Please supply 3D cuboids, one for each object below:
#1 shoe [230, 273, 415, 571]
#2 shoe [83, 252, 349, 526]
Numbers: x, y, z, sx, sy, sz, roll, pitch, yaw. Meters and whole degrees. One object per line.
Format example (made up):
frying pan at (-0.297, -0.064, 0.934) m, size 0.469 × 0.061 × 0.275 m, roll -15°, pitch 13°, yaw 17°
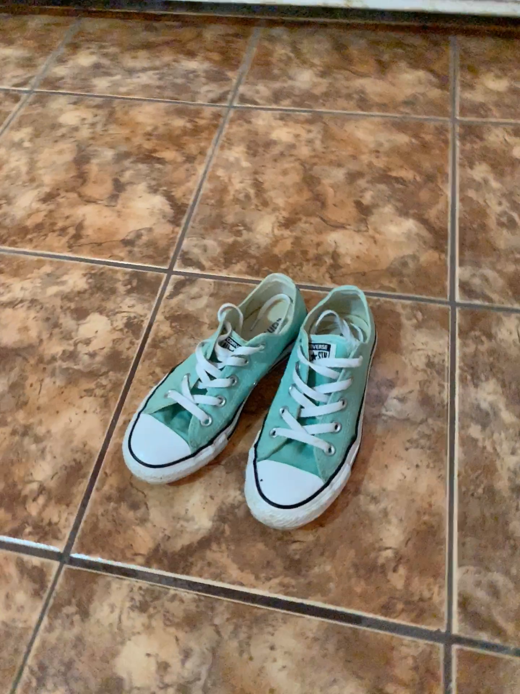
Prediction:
shoe at (0.065, 0.058, 0.486) m, size 0.094 × 0.084 × 0.244 m, roll 15°, pitch 58°, yaw 13°
shoe at (-0.030, 0.033, 0.511) m, size 0.098 × 0.094 × 0.244 m, roll 35°, pitch 64°, yaw 23°
